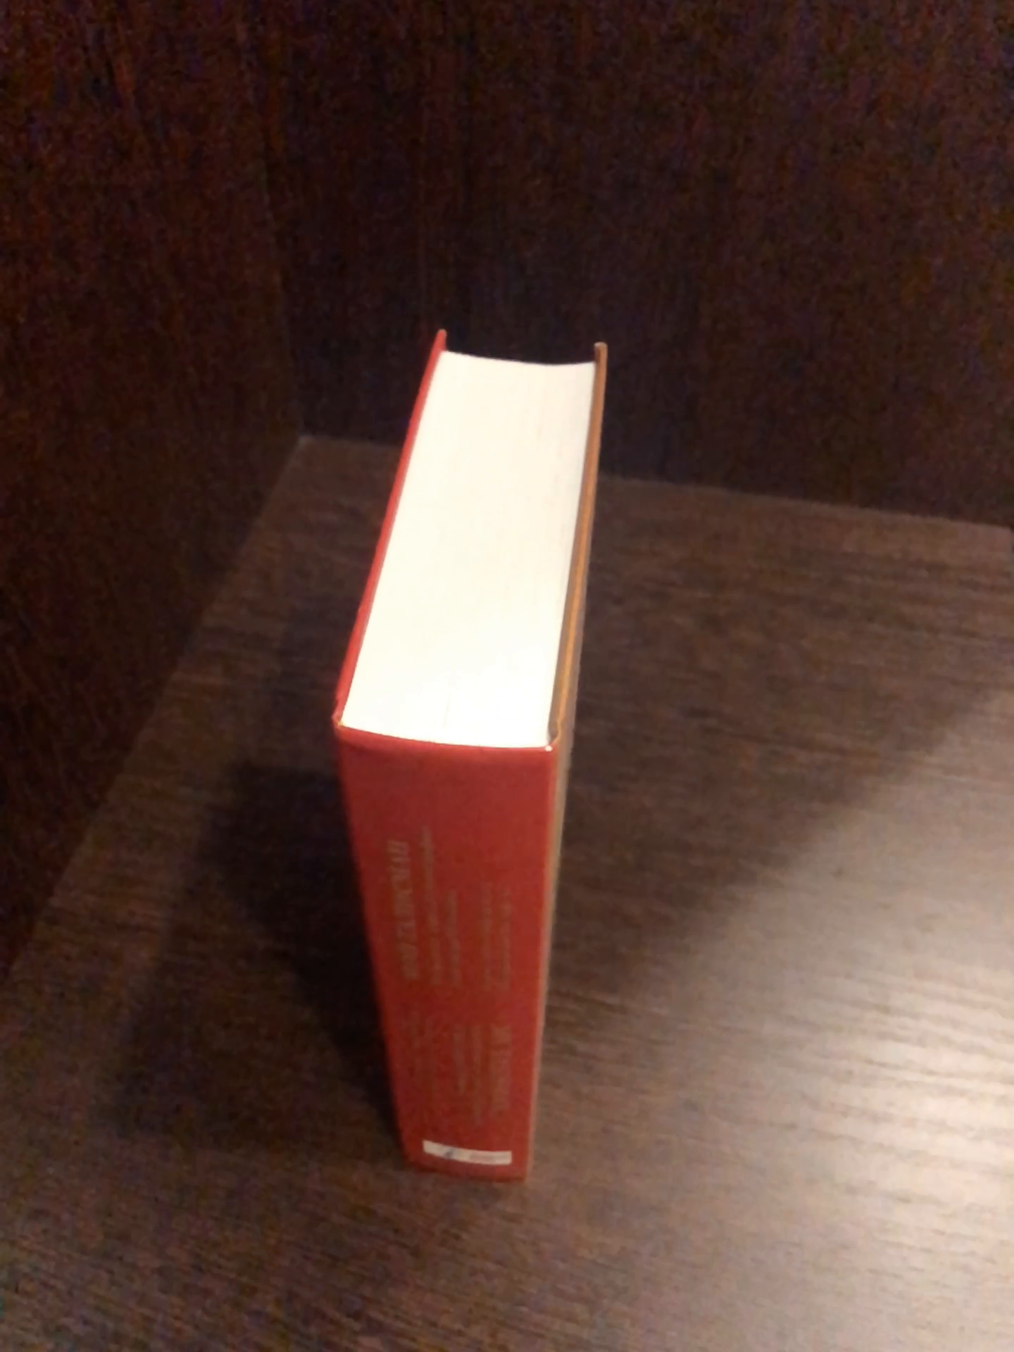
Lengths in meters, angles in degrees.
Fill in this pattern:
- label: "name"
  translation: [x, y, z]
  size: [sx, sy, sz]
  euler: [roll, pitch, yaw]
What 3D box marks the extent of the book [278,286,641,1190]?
- label: "book"
  translation: [-0.008, 0.027, 0.302]
  size: [0.054, 0.201, 0.137]
  euler: [7, 47, 2]
